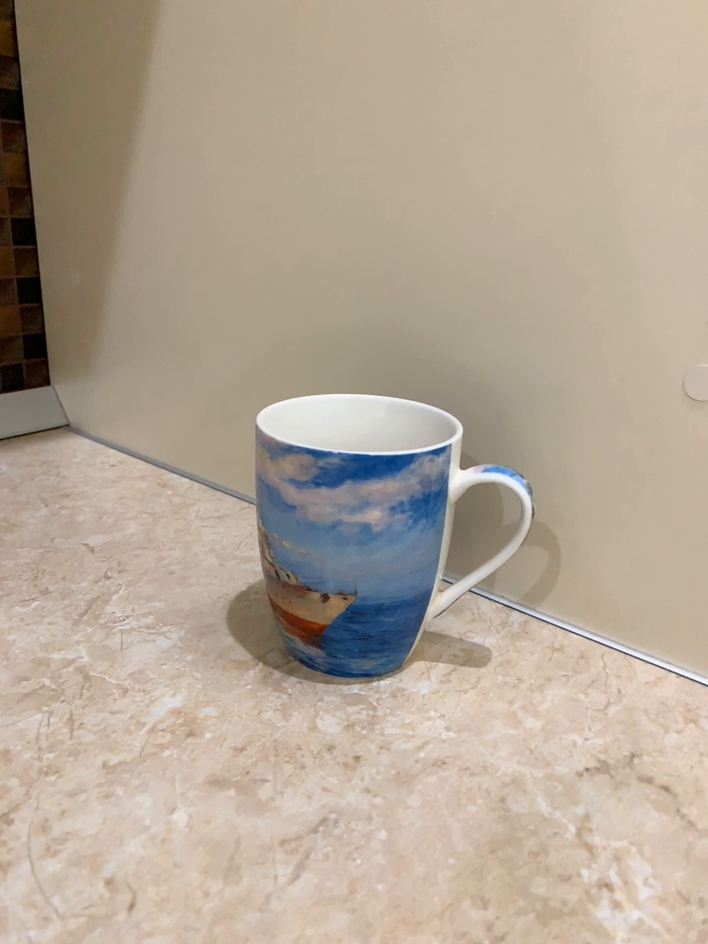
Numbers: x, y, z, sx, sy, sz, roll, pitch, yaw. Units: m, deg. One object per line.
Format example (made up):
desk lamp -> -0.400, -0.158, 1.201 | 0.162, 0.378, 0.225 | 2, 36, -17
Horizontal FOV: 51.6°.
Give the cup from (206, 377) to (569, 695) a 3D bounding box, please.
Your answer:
cup -> 0.010, 0.019, 0.283 | 0.114, 0.087, 0.083 | 4, 20, 2
